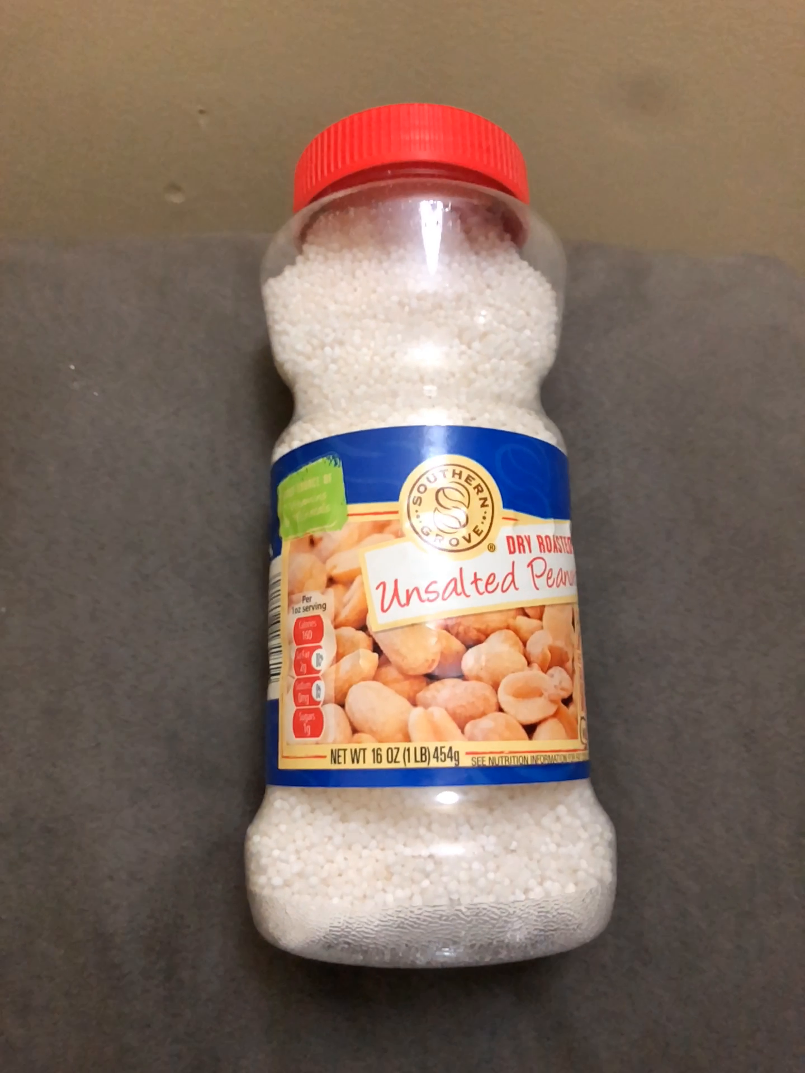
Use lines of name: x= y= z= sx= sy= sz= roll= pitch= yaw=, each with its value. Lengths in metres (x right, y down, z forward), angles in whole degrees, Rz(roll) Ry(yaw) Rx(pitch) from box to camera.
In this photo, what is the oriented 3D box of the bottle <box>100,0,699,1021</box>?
bottle: x=-0.001 y=-0.017 z=0.216 sx=0.095 sy=0.090 sz=0.220 roll=-1 pitch=75 yaw=1
